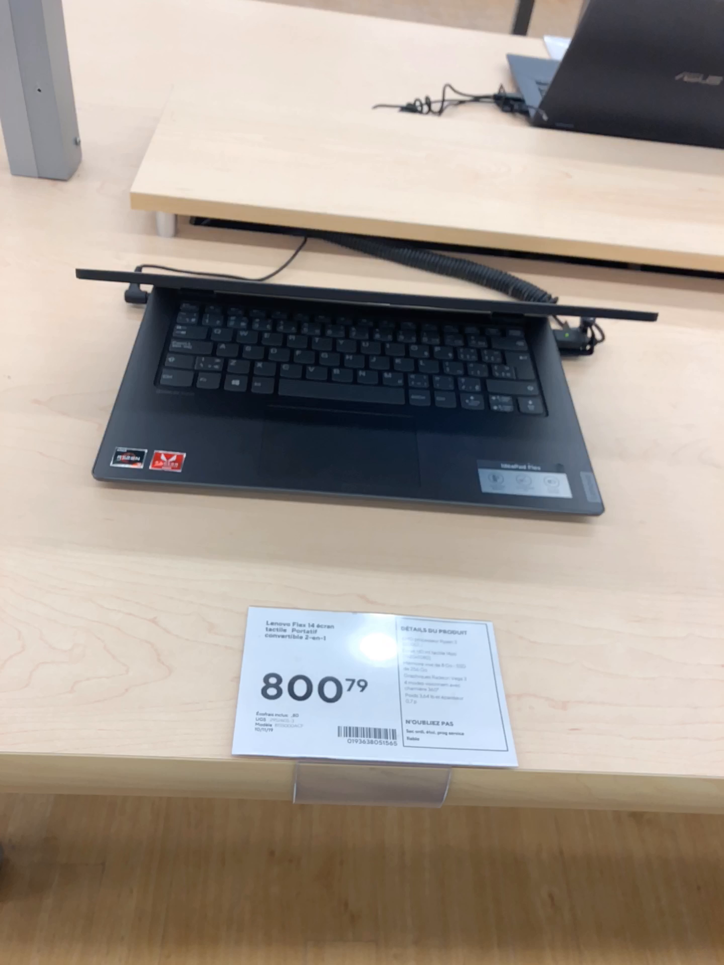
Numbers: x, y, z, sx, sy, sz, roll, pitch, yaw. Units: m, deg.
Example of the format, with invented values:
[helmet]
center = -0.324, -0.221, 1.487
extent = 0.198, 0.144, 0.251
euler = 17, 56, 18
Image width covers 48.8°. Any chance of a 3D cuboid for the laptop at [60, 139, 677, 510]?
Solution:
[laptop]
center = 0.003, -0.115, 0.550
extent = 0.331, 0.121, 0.229
euler = 4, 44, -5
